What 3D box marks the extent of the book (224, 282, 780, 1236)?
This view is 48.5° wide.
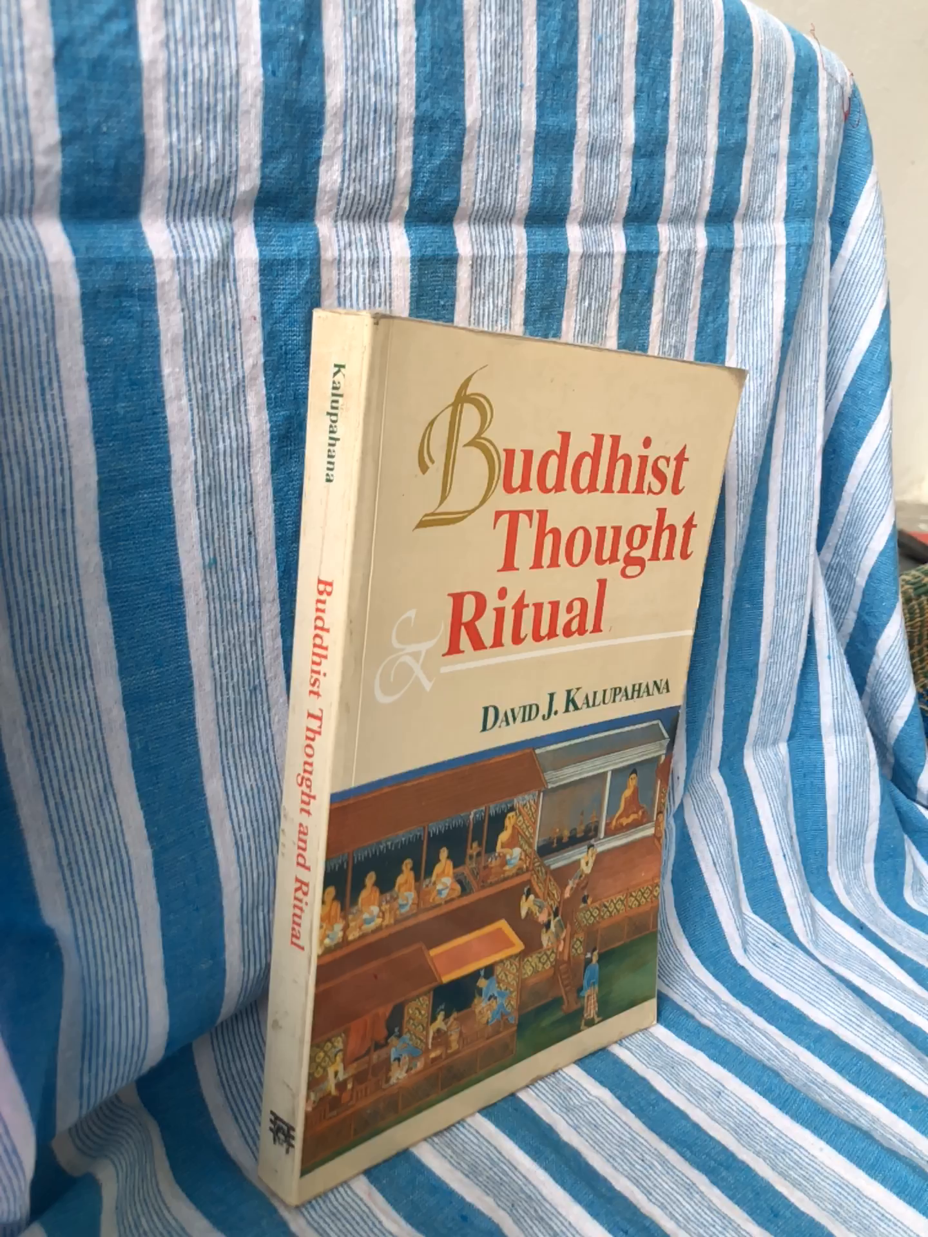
[{"bbox_3d":[0.015,0.035,0.278,0.151,0.219,0.020,-5,18,-42],"label":"book"}]
